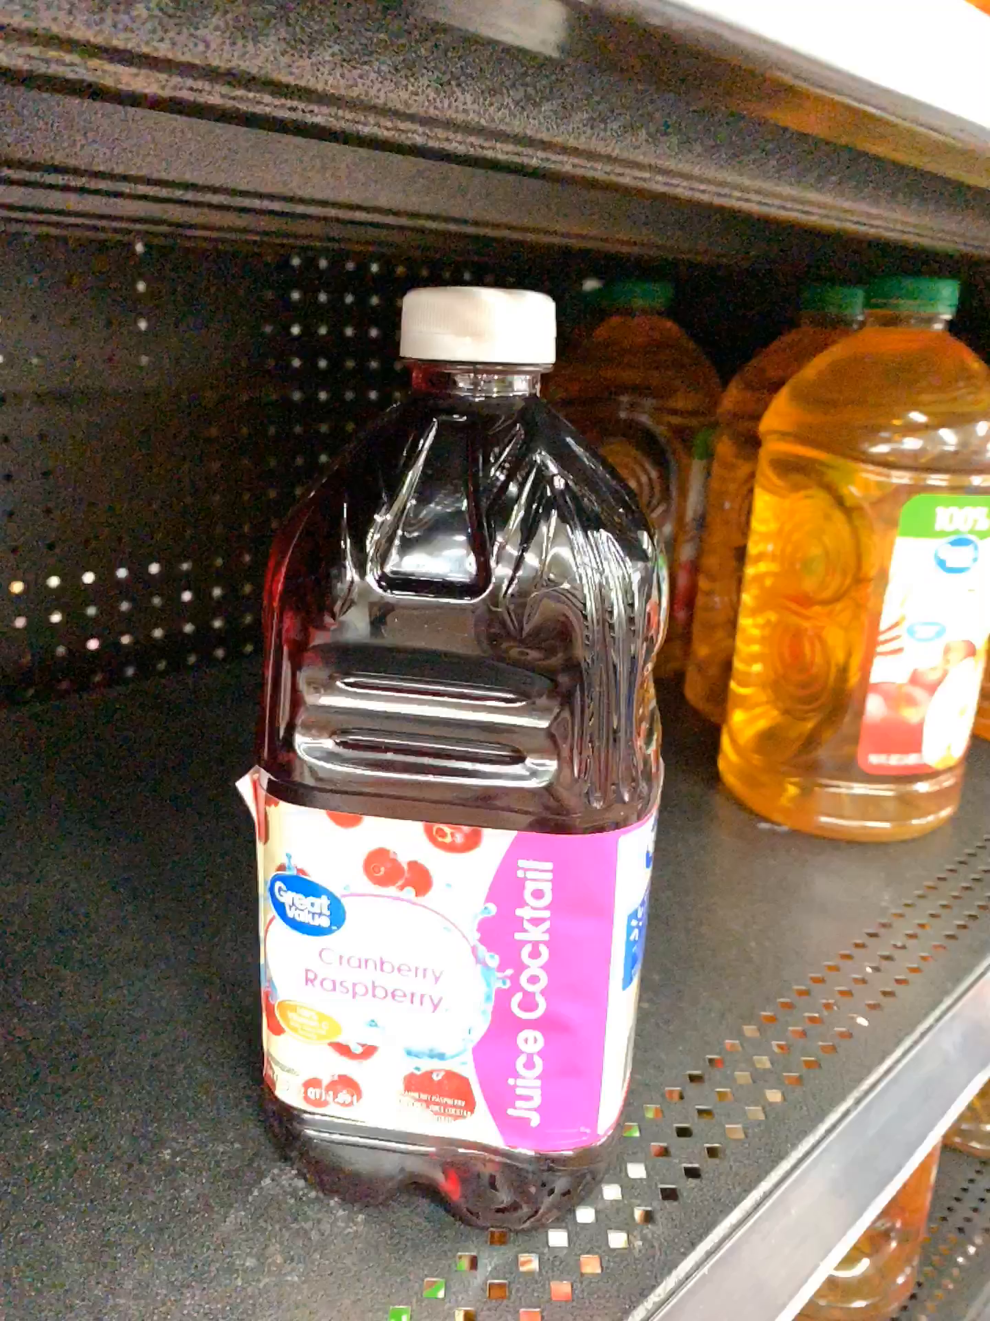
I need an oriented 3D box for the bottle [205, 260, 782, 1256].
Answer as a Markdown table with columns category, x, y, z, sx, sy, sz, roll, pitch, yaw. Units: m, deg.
| category | x | y | z | sx | sy | sz | roll | pitch | yaw |
| --- | --- | --- | --- | --- | --- | --- | --- | --- | --- |
| bottle | -0.002 | 0.025 | 0.308 | 0.125 | 0.259 | 0.100 | 6 | 19 | 8 |
